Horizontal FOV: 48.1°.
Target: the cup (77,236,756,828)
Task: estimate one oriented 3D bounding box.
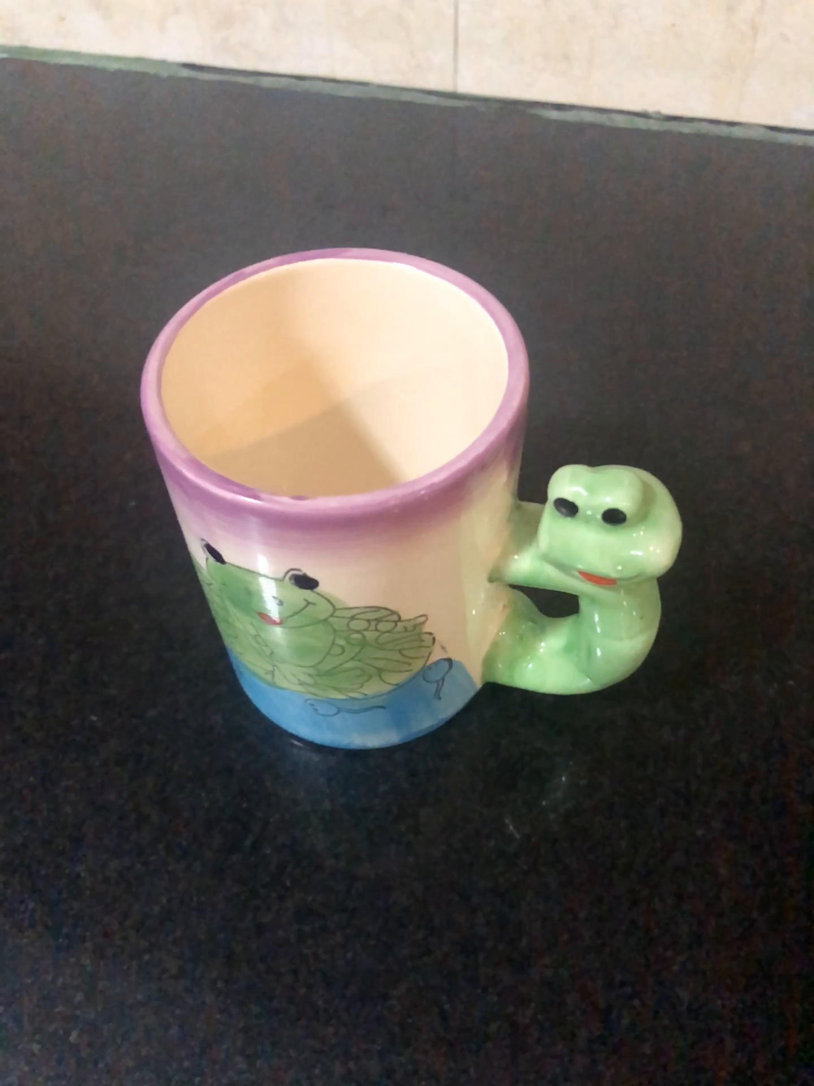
[{"bbox_3d":[0.005,0.001,0.215,0.110,0.109,0.080,4,51,5],"label":"cup"}]
